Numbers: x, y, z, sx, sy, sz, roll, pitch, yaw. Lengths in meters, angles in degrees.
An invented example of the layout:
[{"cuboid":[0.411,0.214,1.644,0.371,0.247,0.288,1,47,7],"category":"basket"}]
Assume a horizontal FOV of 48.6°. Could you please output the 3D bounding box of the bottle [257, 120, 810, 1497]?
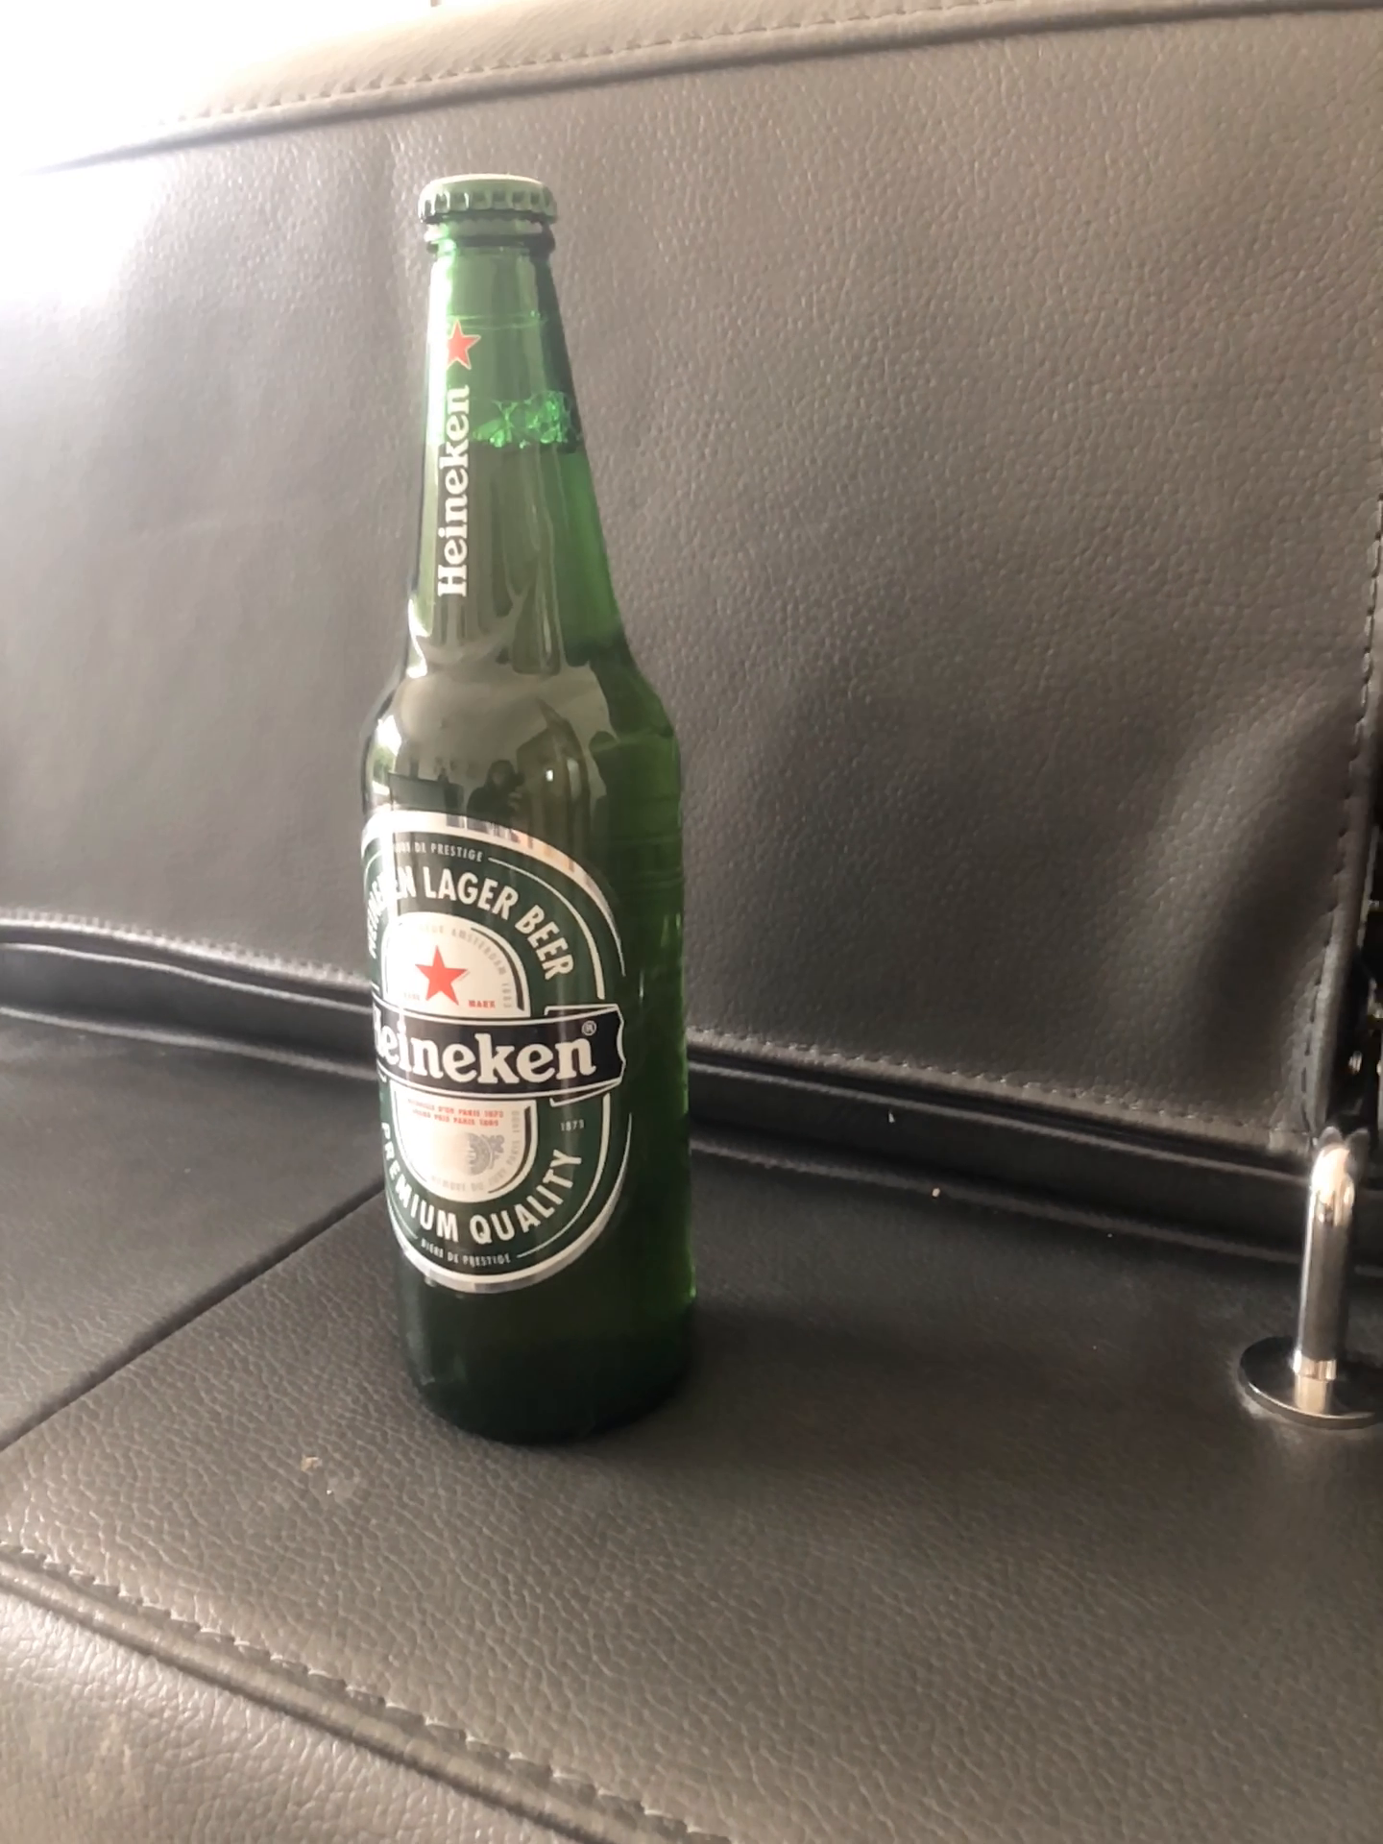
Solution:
[{"cuboid":[-0.028,-0.020,0.345,0.080,0.269,0.080,0,16,0],"category":"bottle"}]
